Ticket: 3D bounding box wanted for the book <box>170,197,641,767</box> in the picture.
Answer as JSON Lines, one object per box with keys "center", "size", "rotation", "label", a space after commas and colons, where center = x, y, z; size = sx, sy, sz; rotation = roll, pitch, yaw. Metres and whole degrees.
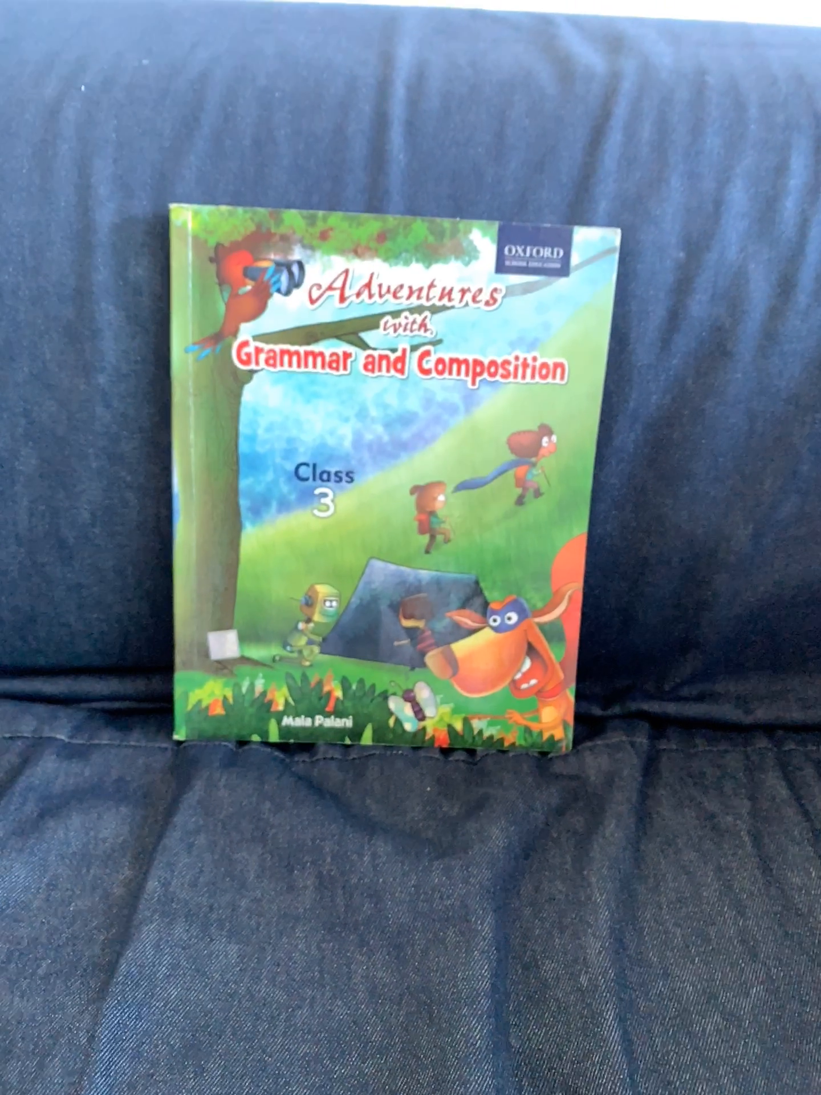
{"center": [-0.009, -0.025, 0.427], "size": [0.212, 0.269, 0.030], "rotation": [3, 13, -1], "label": "book"}
